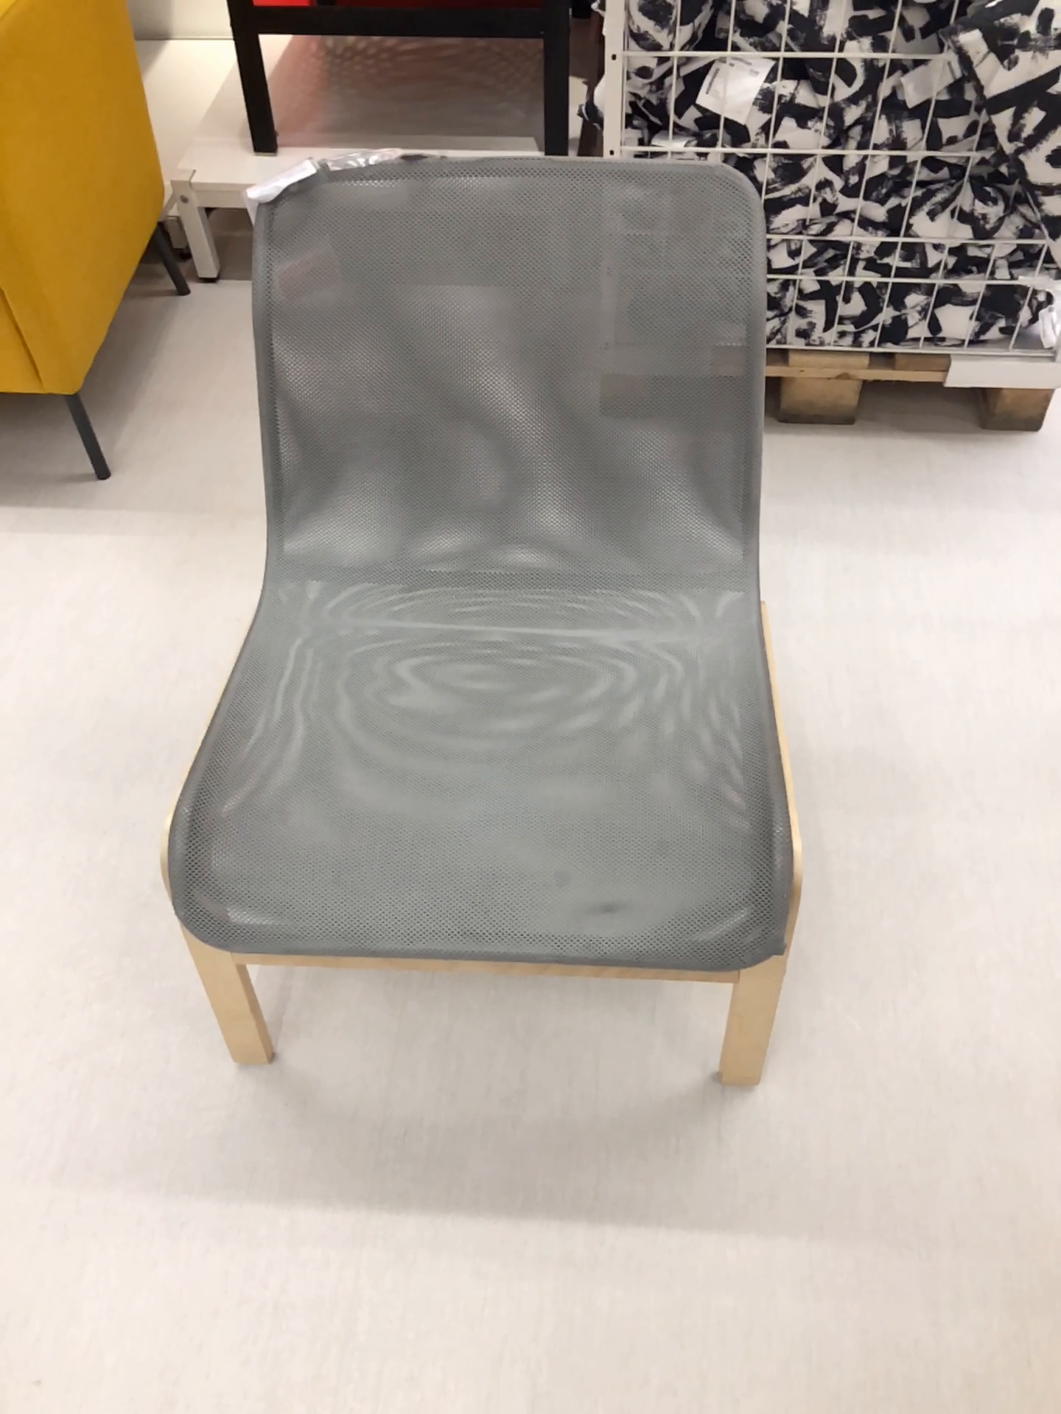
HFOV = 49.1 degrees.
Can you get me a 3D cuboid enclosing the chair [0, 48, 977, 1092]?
[{"bbox_3d":[-0.037,-0.092,1.181,0.630,0.825,0.644,2,52,4],"label":"chair"}]
